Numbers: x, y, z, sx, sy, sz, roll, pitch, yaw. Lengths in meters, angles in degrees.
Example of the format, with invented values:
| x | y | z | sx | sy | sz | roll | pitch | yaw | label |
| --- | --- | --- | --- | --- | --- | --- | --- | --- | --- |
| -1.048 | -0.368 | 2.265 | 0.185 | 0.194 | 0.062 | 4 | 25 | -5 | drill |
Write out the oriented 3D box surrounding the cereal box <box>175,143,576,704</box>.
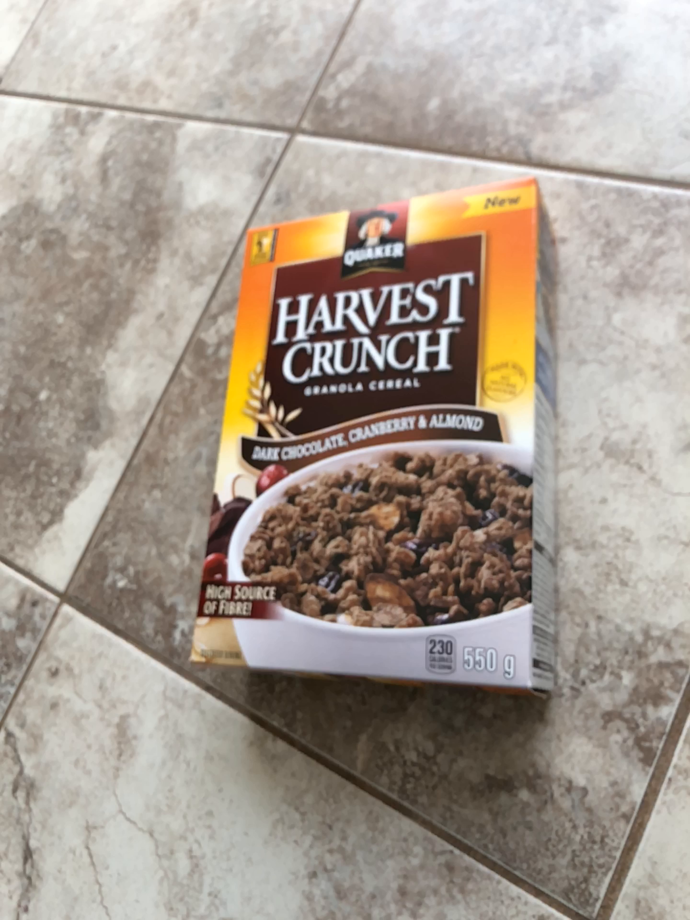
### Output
| x | y | z | sx | sy | sz | roll | pitch | yaw | label |
| --- | --- | --- | --- | --- | --- | --- | --- | --- | --- |
| 0.023 | -0.016 | 0.394 | 0.170 | 0.070 | 0.250 | -2 | 71 | 24 | cereal box |
